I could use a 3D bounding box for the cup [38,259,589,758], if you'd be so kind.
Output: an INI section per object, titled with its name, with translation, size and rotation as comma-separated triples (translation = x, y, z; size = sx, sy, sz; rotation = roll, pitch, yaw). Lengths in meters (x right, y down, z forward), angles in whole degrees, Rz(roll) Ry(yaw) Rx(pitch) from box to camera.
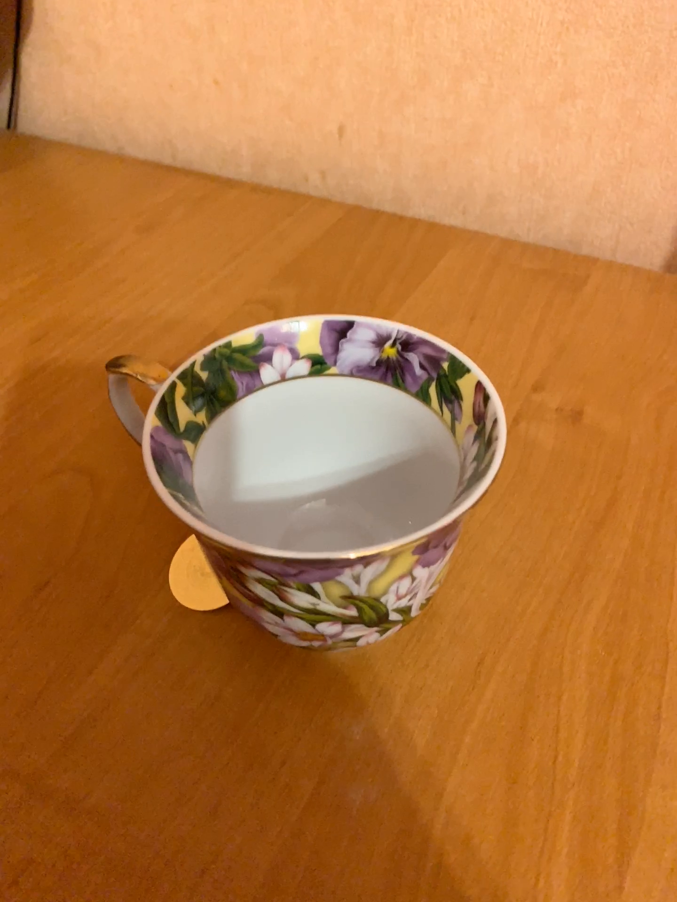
[cup]
translation = -0.004, 0.008, 0.193
size = 0.109, 0.069, 0.077
rotation = 22, 48, 23
